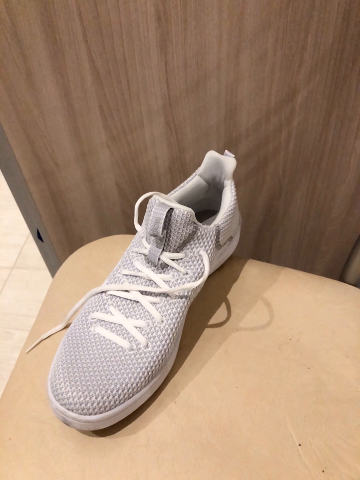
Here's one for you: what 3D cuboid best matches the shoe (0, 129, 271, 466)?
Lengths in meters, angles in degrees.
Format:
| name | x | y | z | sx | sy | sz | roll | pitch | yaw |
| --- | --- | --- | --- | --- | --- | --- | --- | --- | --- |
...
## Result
| name | x | y | z | sx | sy | sz | roll | pitch | yaw |
| --- | --- | --- | --- | --- | --- | --- | --- | --- | --- |
| shoe | -0.027 | 0.033 | 0.399 | 0.110 | 0.129 | 0.302 | 23 | 53 | 23 |
